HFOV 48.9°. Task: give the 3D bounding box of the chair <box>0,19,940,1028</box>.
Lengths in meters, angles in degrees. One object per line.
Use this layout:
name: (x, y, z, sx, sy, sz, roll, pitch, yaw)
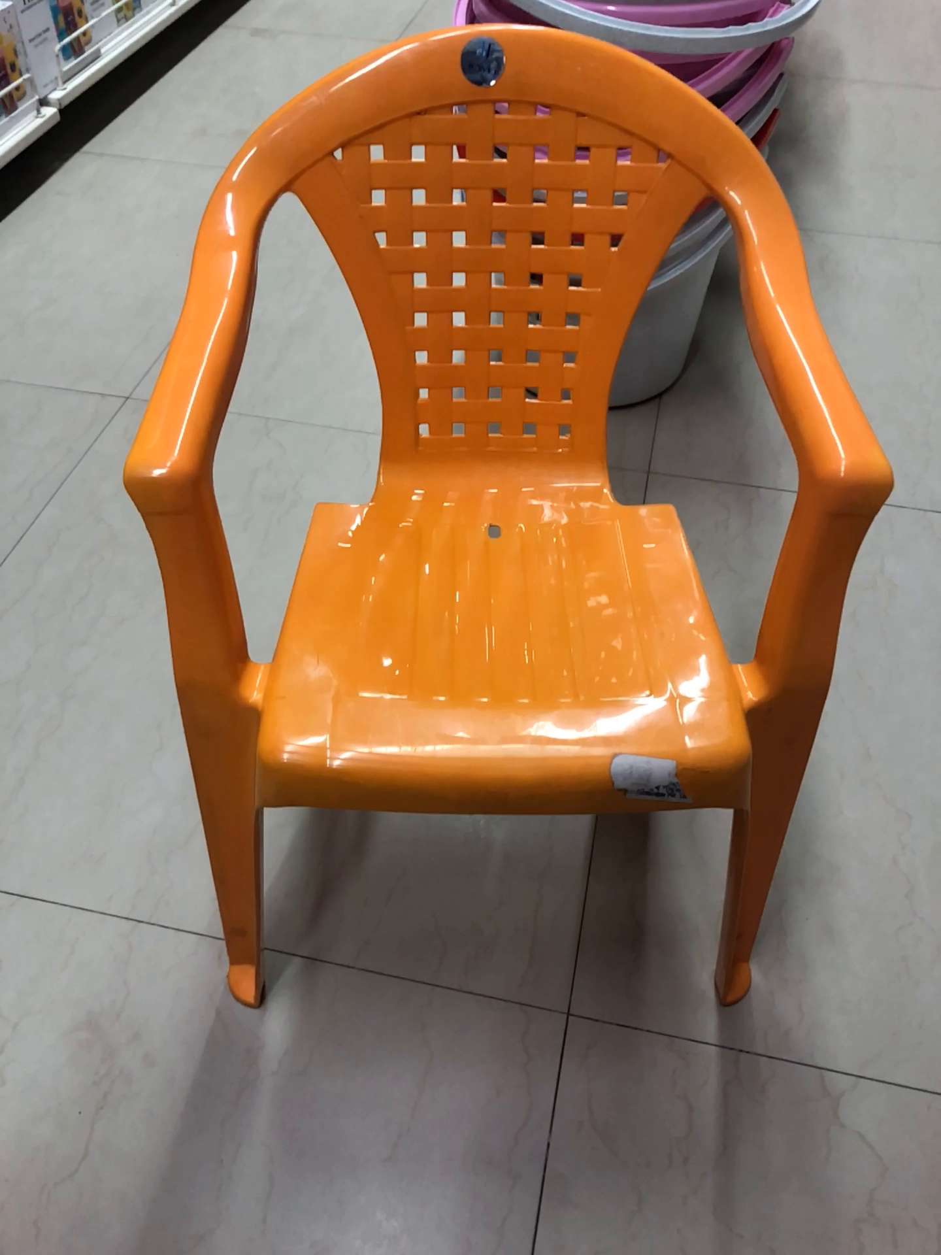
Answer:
chair: (0.017, -0.050, 0.640, 0.390, 0.467, 0.403, 1, 47, 1)
